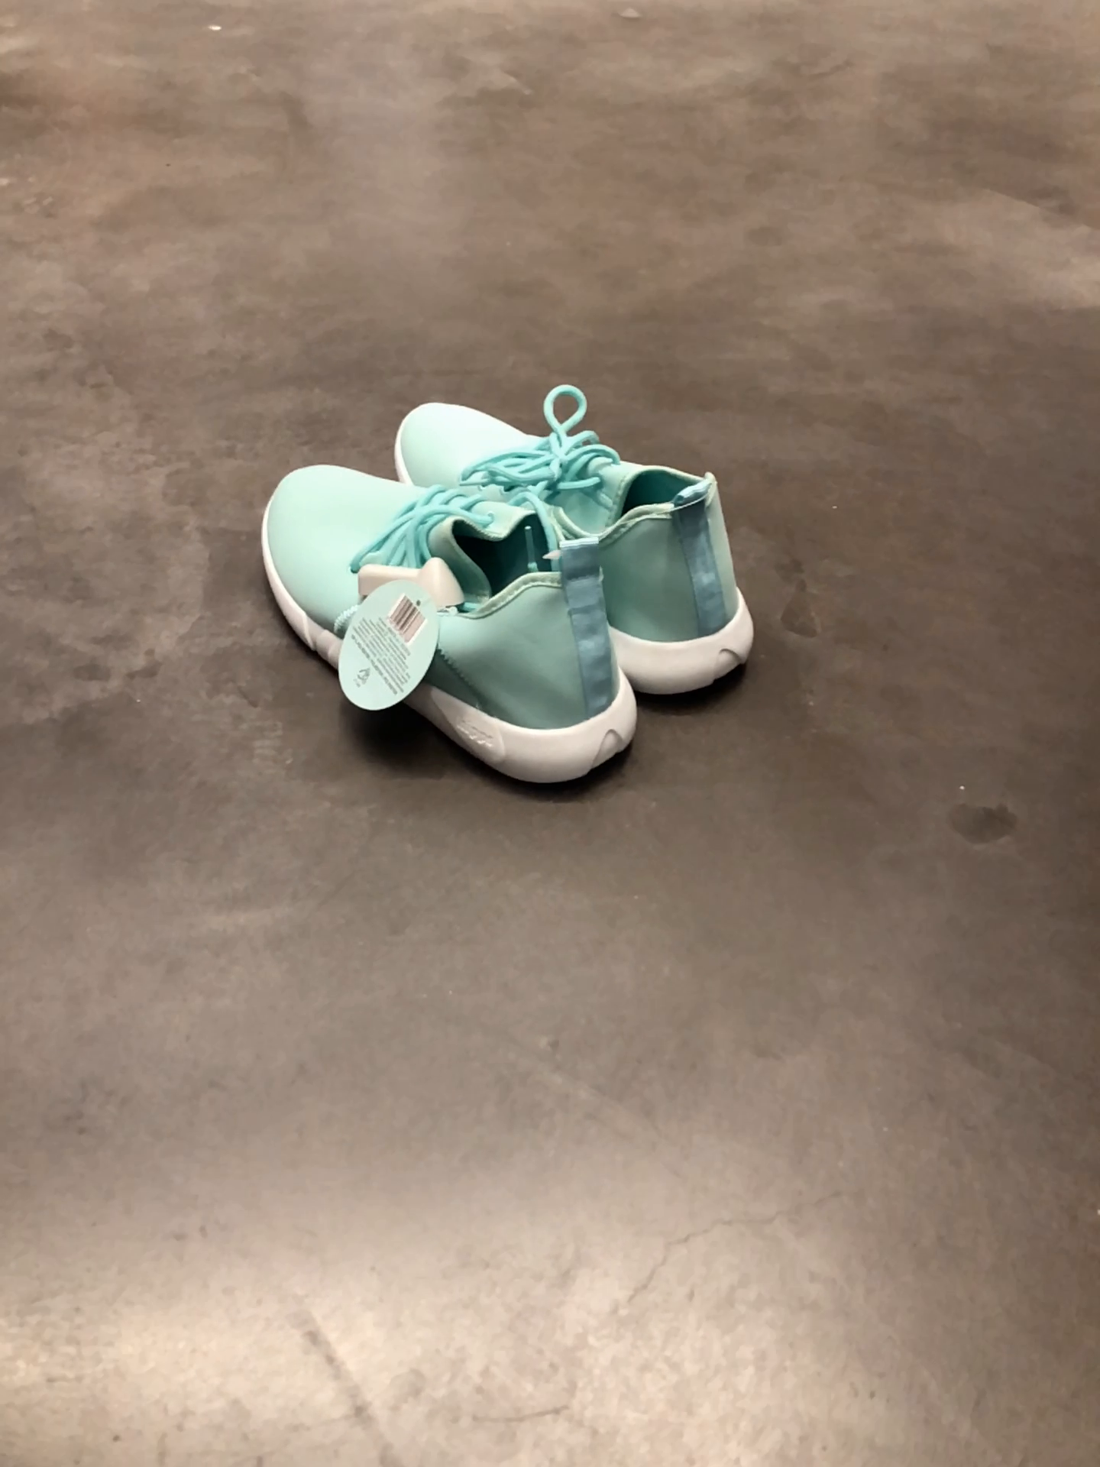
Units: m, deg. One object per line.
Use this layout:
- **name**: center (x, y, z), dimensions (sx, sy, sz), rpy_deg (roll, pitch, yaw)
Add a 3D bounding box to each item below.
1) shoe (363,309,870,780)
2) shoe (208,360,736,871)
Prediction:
- **shoe**: center (0.021, -0.100, 0.578), dimensions (0.100, 0.099, 0.230), rpy_deg (-30, 52, -27)
- **shoe**: center (-0.041, -0.064, 0.543), dimensions (0.100, 0.099, 0.230), rpy_deg (-32, 53, -28)
